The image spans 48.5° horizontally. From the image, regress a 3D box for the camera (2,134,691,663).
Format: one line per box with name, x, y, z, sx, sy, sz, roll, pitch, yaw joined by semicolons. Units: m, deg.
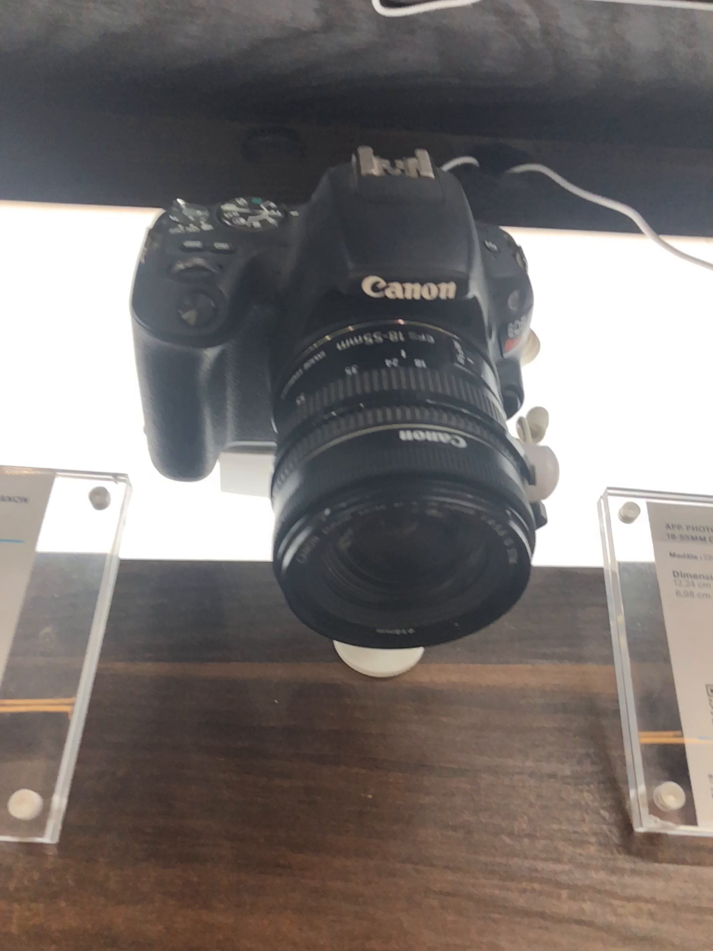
camera;-0.005;-0.024;0.213;0.124;0.082;0.119;1;44;-4
